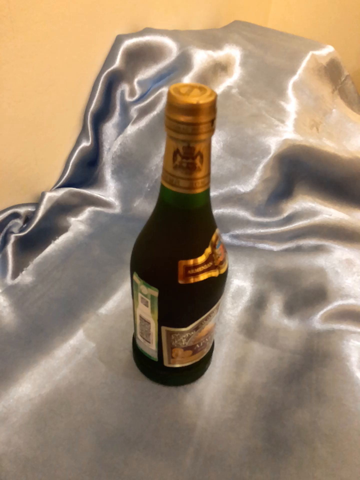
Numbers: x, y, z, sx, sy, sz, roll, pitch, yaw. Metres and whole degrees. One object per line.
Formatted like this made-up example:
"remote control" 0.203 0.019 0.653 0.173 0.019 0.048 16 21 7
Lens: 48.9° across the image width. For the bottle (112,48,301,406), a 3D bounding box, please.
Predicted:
"bottle" 0.005 0.014 0.280 0.074 0.247 0.081 4 44 -4
